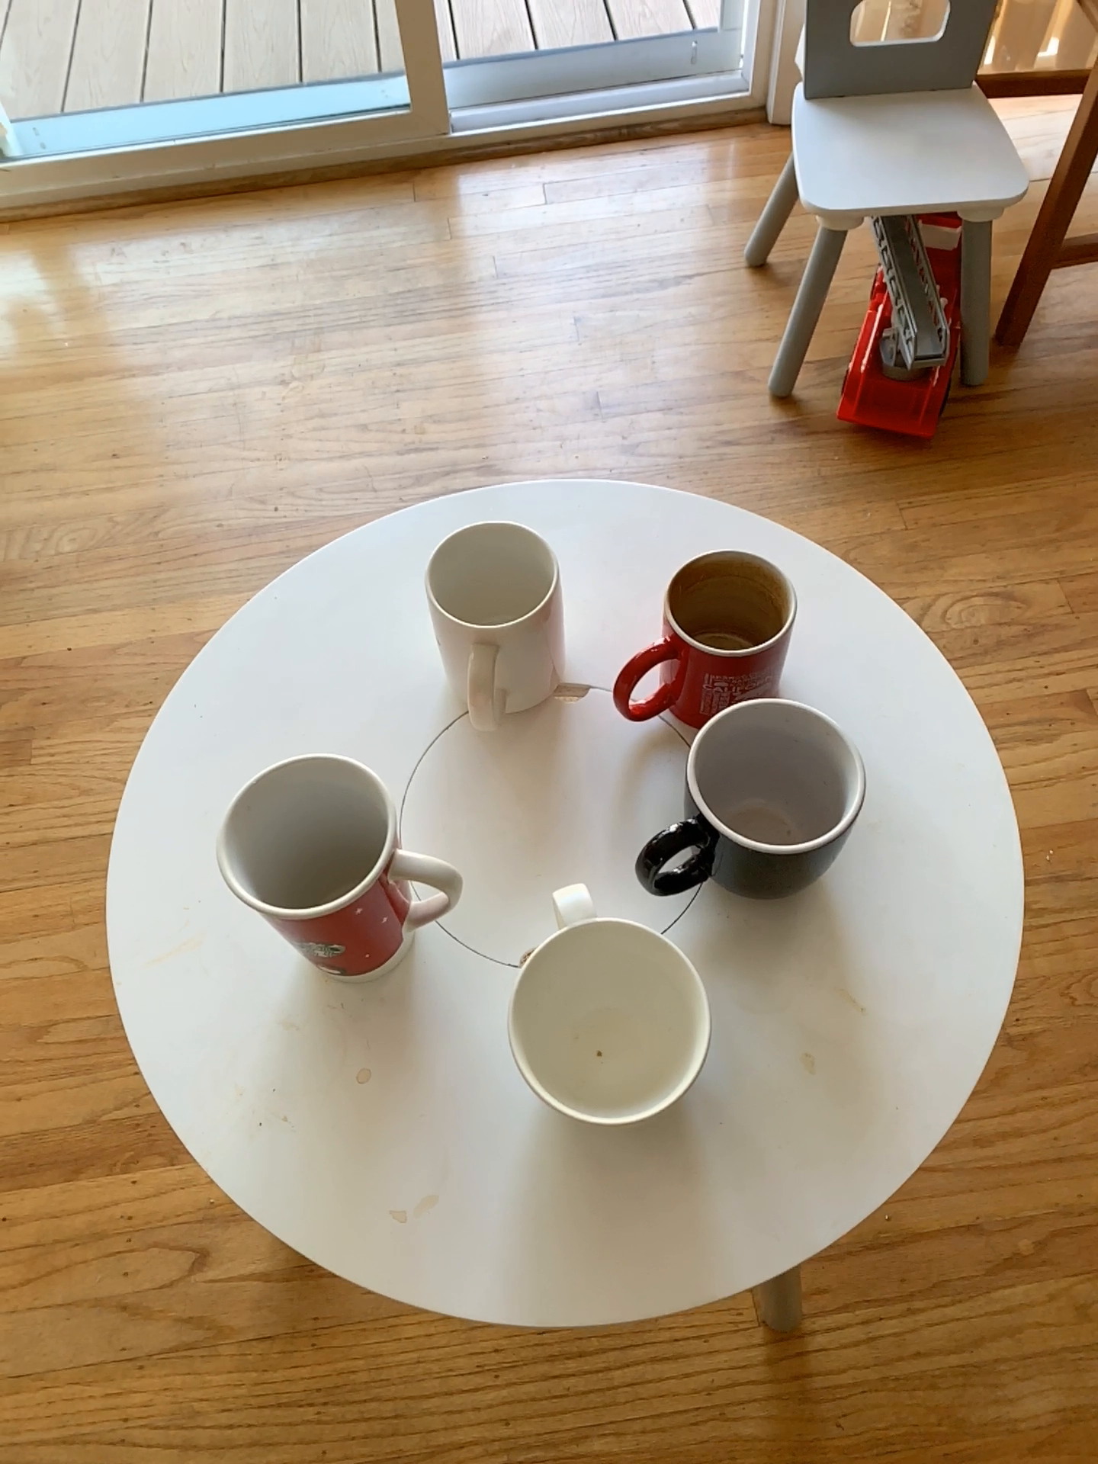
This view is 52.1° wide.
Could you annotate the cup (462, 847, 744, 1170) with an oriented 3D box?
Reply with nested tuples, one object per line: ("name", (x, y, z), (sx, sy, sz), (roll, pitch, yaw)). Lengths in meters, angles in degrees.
("cup", (0.025, 0.144, 0.592), (0.110, 0.060, 0.130), (-14, 61, -5))

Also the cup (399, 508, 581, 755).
("cup", (-0.032, -0.061, 0.693), (0.100, 0.090, 0.120), (-1, 60, 2))

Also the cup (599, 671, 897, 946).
("cup", (0.105, 0.044, 0.632), (0.130, 0.080, 0.100), (-15, 61, -6))

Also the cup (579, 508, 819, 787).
("cup", (0.090, -0.052, 0.701), (0.120, 0.100, 0.080), (-41, 66, -19))

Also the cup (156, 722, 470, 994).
("cup", (-0.120, 0.073, 0.621), (0.130, 0.130, 0.100), (2, 60, 4))
